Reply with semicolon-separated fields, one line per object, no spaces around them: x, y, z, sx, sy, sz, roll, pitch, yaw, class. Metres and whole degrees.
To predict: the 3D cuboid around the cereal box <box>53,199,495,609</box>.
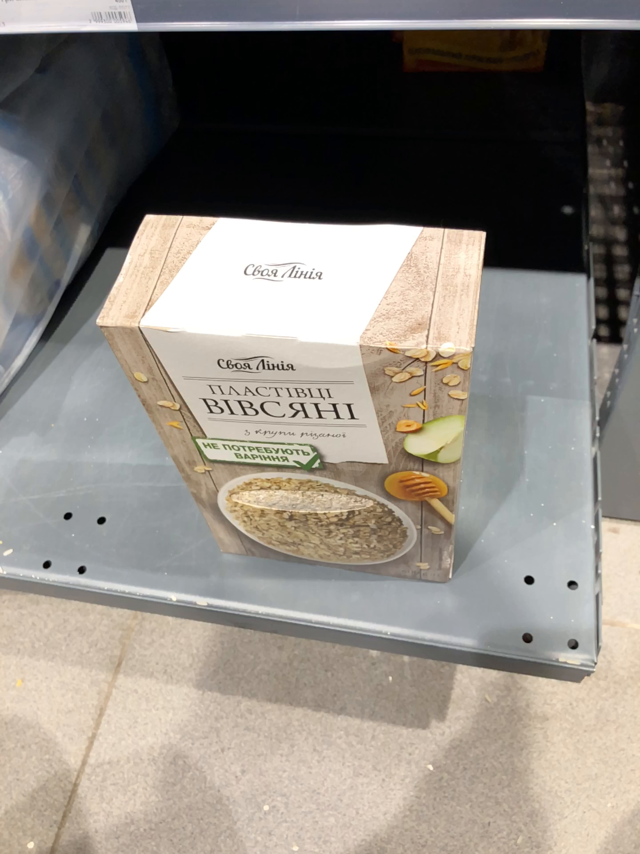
-0.004;0.007;0.353;0.150;0.228;0.070;6;58;11;cereal box
